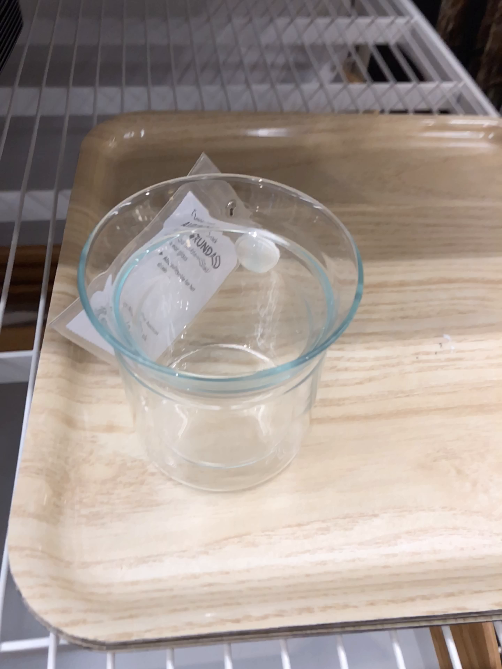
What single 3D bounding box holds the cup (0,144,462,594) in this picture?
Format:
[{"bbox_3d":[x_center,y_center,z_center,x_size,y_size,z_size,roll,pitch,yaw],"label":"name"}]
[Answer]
[{"bbox_3d":[-0.006,0.007,0.193,0.100,0.080,0.090,-35,60,-29],"label":"cup"}]
